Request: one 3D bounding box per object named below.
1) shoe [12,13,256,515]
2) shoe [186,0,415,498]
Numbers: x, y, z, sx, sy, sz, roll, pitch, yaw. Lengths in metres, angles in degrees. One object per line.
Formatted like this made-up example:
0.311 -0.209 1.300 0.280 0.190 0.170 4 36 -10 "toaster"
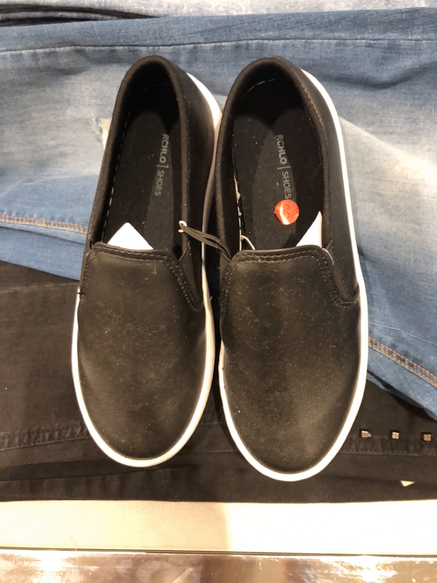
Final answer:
-0.044 -0.017 0.310 0.110 0.100 0.260 5 92 6 "shoe"
0.047 -0.021 0.308 0.110 0.100 0.260 -2 91 5 "shoe"
